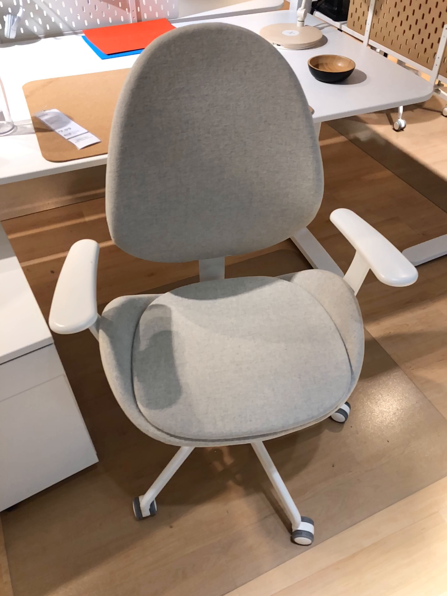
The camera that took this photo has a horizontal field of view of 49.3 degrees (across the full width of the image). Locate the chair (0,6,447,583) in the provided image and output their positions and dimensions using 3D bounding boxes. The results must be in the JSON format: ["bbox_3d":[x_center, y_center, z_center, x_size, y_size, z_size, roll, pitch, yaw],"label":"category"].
[{"bbox_3d":[0.047,0.013,1.032,0.650,0.914,0.705,-8,46,-8],"label":"chair"}]
